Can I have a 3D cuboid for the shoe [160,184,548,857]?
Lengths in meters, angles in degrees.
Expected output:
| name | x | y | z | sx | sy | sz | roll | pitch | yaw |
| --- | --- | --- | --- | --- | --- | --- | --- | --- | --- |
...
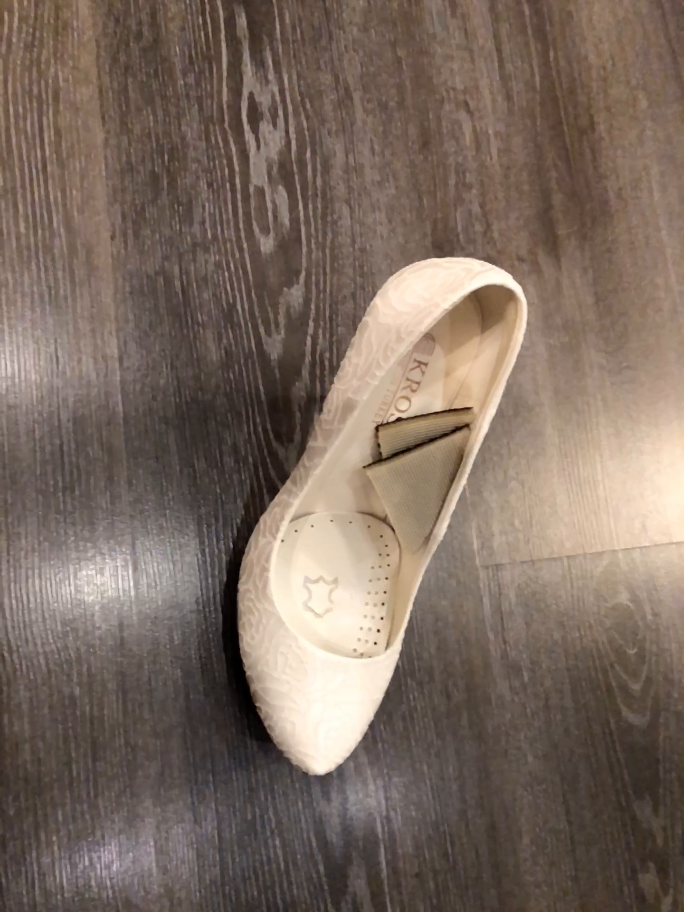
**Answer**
| name | x | y | z | sx | sy | sz | roll | pitch | yaw |
| --- | --- | --- | --- | --- | --- | --- | --- | --- | --- |
| shoe | -0.002 | 0.030 | 0.317 | 0.090 | 0.150 | 0.210 | 12 | 75 | -19 |
